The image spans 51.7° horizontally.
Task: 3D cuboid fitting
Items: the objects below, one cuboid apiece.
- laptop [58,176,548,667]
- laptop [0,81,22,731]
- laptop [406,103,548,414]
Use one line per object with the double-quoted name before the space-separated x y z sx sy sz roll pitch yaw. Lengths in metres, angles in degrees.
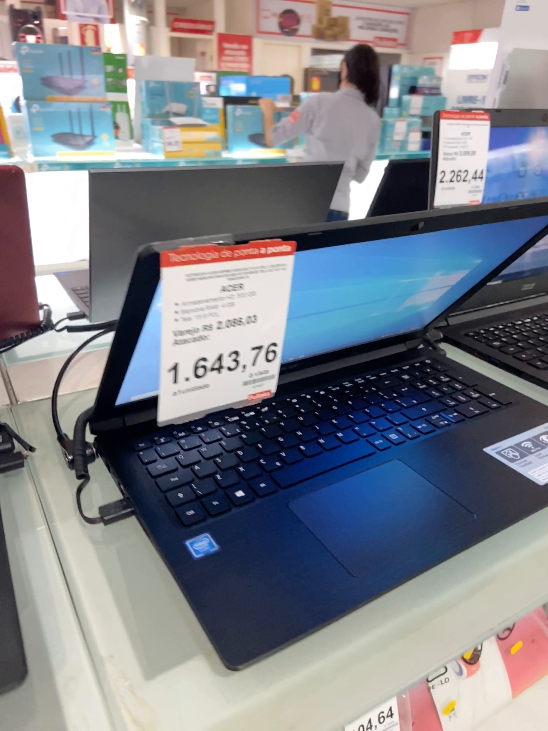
"laptop" 0.076 -0.021 0.424 0.380 0.185 0.239 -14 29 -29
"laptop" -0.371 0.013 0.258 0.400 0.232 0.327 -11 29 -26
"laptop" 0.421 -0.158 0.660 0.399 0.247 0.284 -12 28 -28
